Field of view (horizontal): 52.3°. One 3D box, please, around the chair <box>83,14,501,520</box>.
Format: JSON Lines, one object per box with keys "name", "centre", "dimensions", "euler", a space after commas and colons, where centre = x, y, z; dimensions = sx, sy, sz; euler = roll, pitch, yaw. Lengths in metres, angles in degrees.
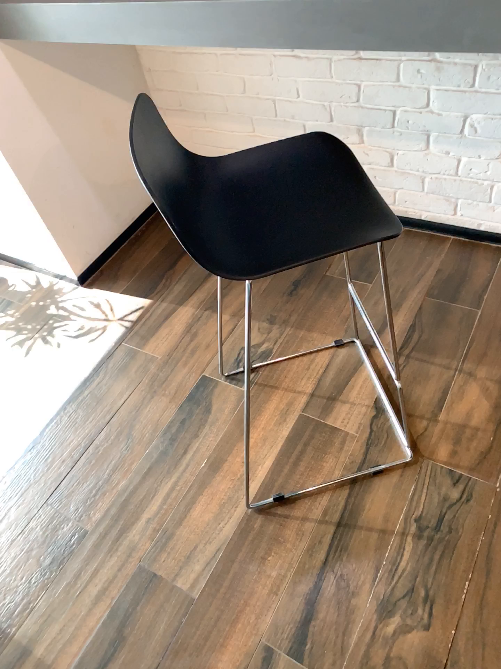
{"name": "chair", "centre": [0.094, -0.086, 1.156], "dimensions": [0.590, 0.863, 0.544], "euler": [-16, 47, 0]}
